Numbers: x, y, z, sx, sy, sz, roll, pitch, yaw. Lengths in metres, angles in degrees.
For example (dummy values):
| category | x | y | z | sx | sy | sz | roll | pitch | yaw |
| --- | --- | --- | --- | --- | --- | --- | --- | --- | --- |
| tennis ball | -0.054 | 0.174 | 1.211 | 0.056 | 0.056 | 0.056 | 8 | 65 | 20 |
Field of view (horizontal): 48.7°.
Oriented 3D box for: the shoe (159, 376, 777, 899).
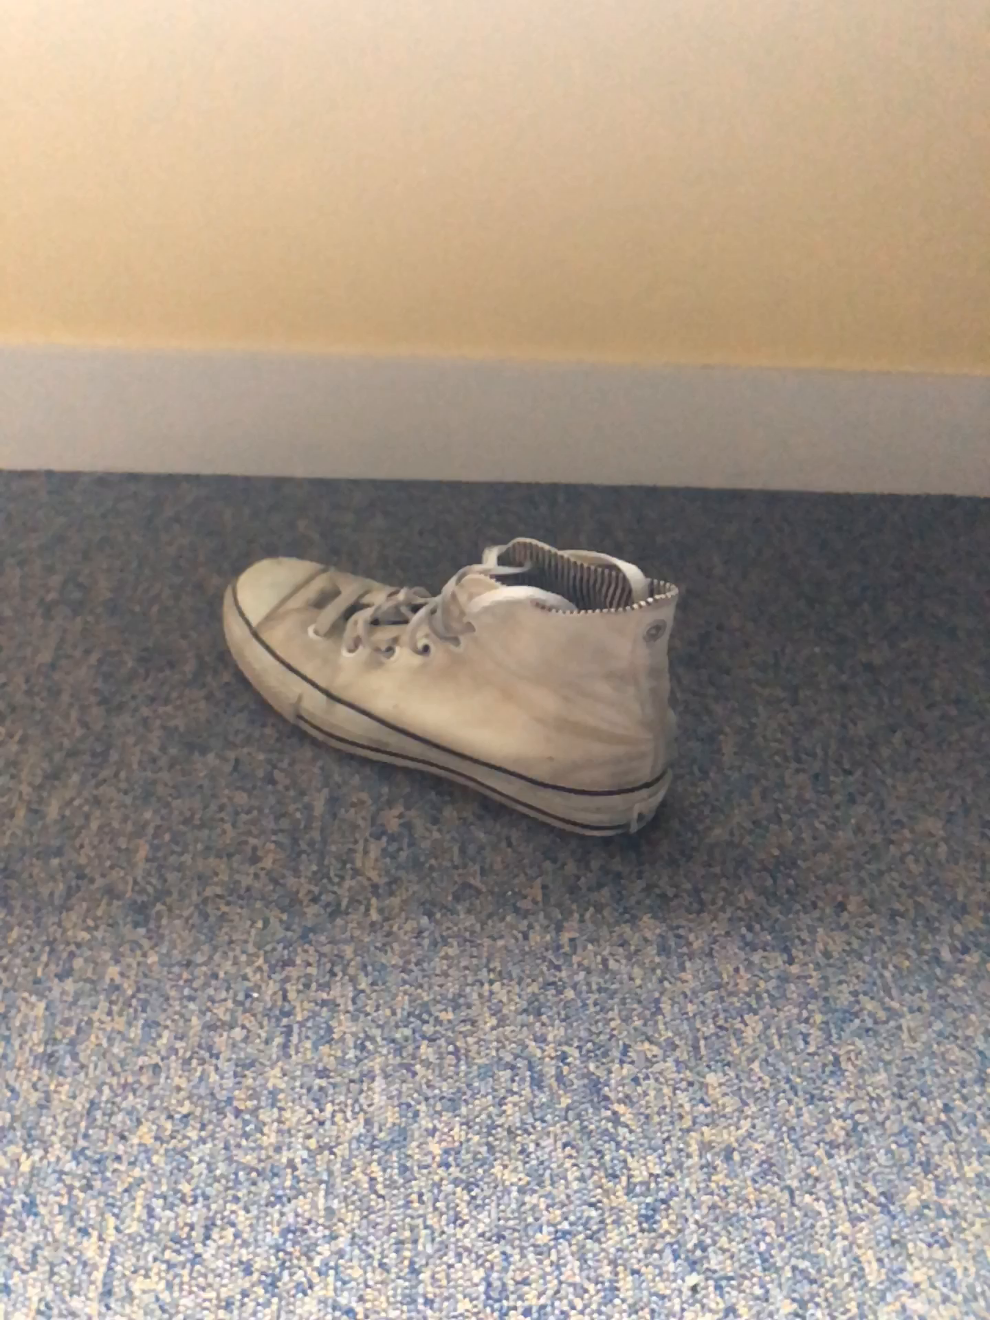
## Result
| category | x | y | z | sx | sy | sz | roll | pitch | yaw |
| --- | --- | --- | --- | --- | --- | --- | --- | --- | --- |
| shoe | -0.017 | -0.017 | 0.518 | 0.250 | 0.139 | 0.101 | 22 | 45 | 19 |
